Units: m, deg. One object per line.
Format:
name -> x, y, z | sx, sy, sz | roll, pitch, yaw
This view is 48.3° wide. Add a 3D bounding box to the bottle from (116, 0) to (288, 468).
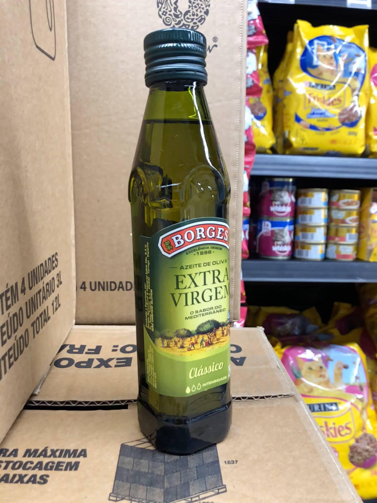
bottle -> 0.003, -0.013, 0.224 | 0.060, 0.219, 0.060 | 1, 10, 0
